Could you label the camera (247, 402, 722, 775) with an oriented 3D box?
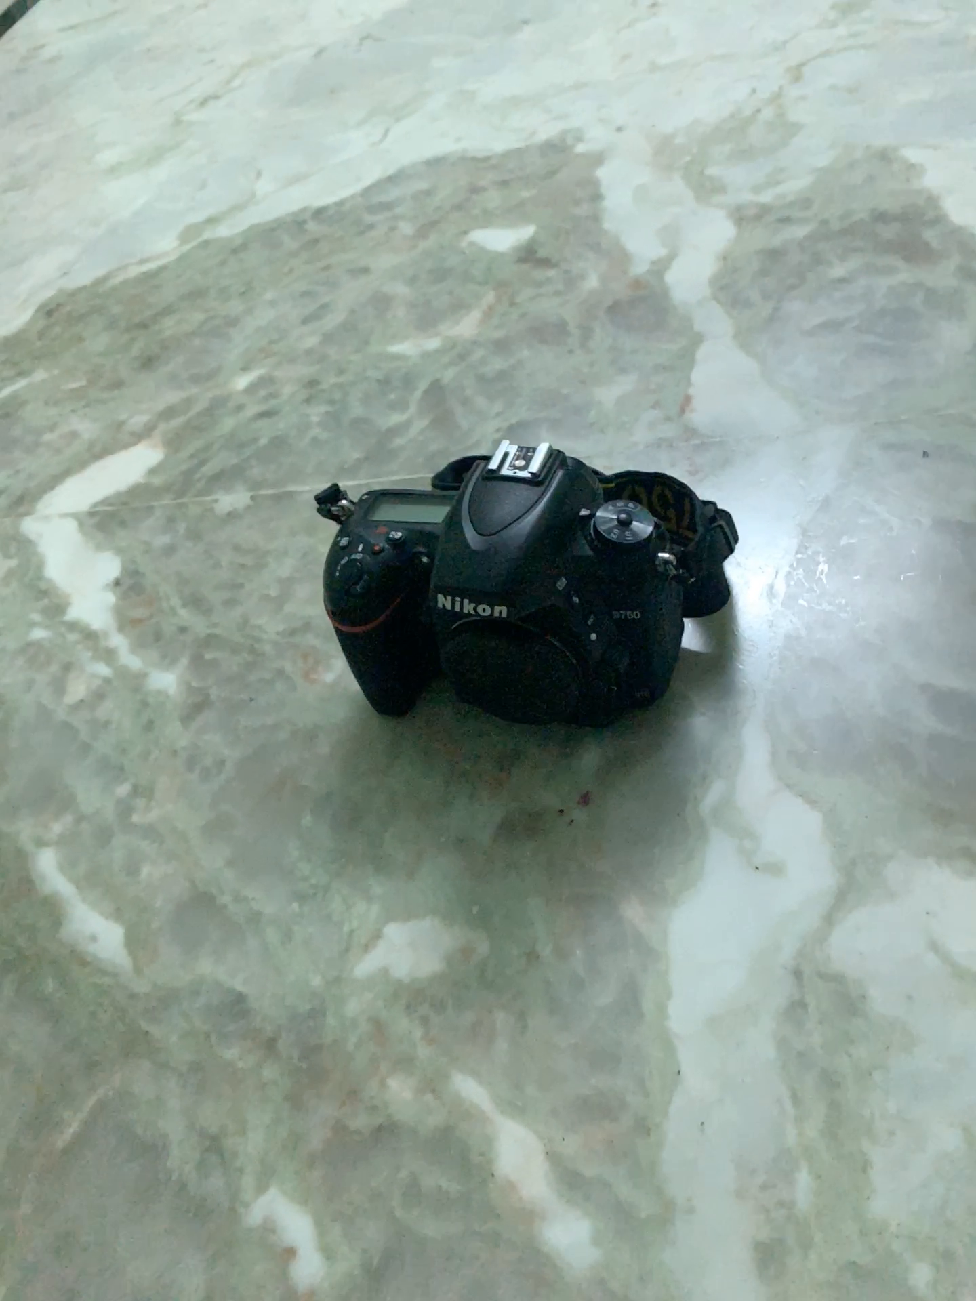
[{"bbox_3d":[0.006,-0.027,0.391,0.150,0.100,0.080,9,52,22],"label":"camera"}]
